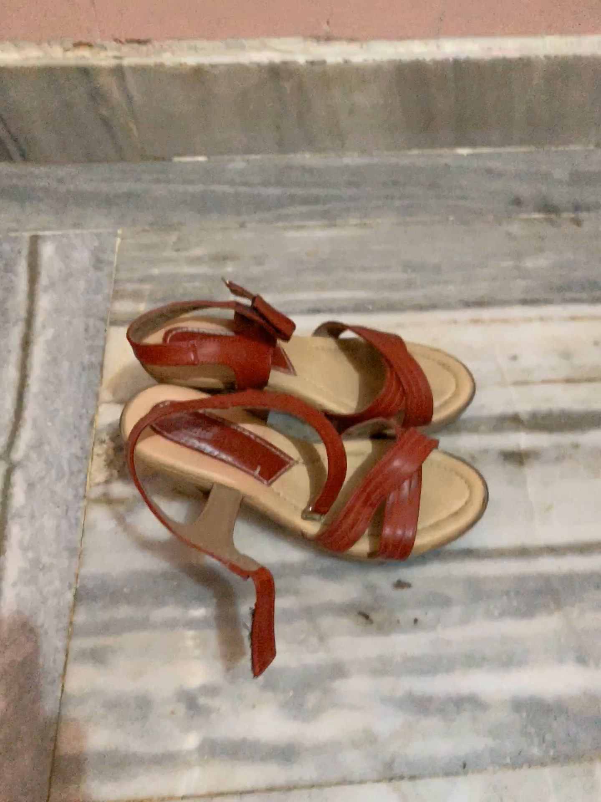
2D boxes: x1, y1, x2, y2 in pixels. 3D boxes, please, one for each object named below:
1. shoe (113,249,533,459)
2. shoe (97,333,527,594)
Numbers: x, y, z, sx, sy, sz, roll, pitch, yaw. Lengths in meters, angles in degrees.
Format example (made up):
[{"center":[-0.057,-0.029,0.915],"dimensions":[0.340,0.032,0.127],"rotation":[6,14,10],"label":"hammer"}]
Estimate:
[{"center":[0.012,-0.029,0.423],"dimensions":[0.240,0.100,0.100],"rotation":[1,58,-1],"label":"shoe"},{"center":[0.010,0.043,0.409],"dimensions":[0.240,0.100,0.100],"rotation":[9,58,4],"label":"shoe"}]
